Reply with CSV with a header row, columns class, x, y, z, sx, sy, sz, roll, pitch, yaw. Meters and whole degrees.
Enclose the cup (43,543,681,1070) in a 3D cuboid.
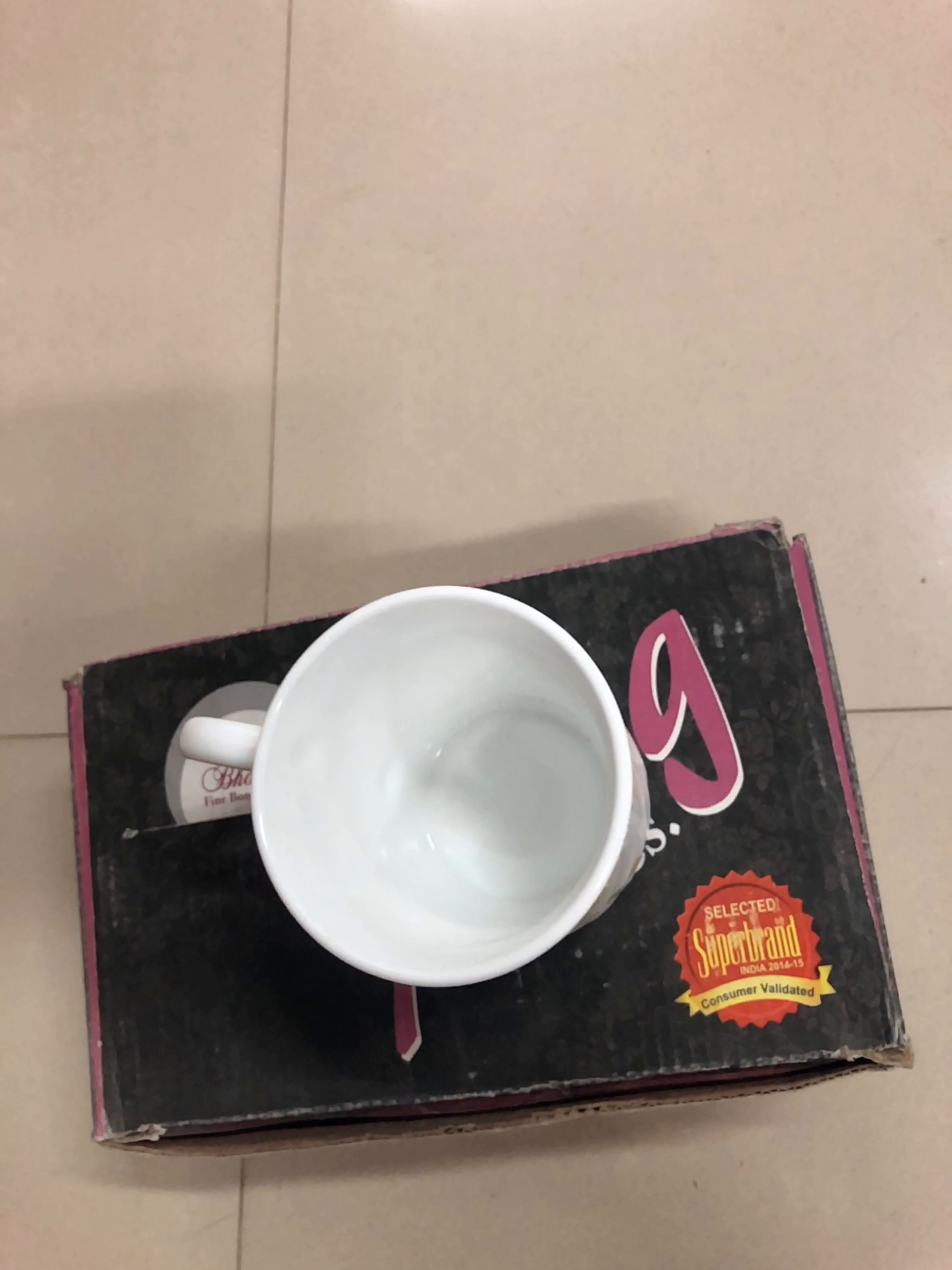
class,x,y,z,sx,sy,sz,roll,pitch,yaw
cup,-0.016,0.037,0.248,0.110,0.090,0.080,10,81,15
